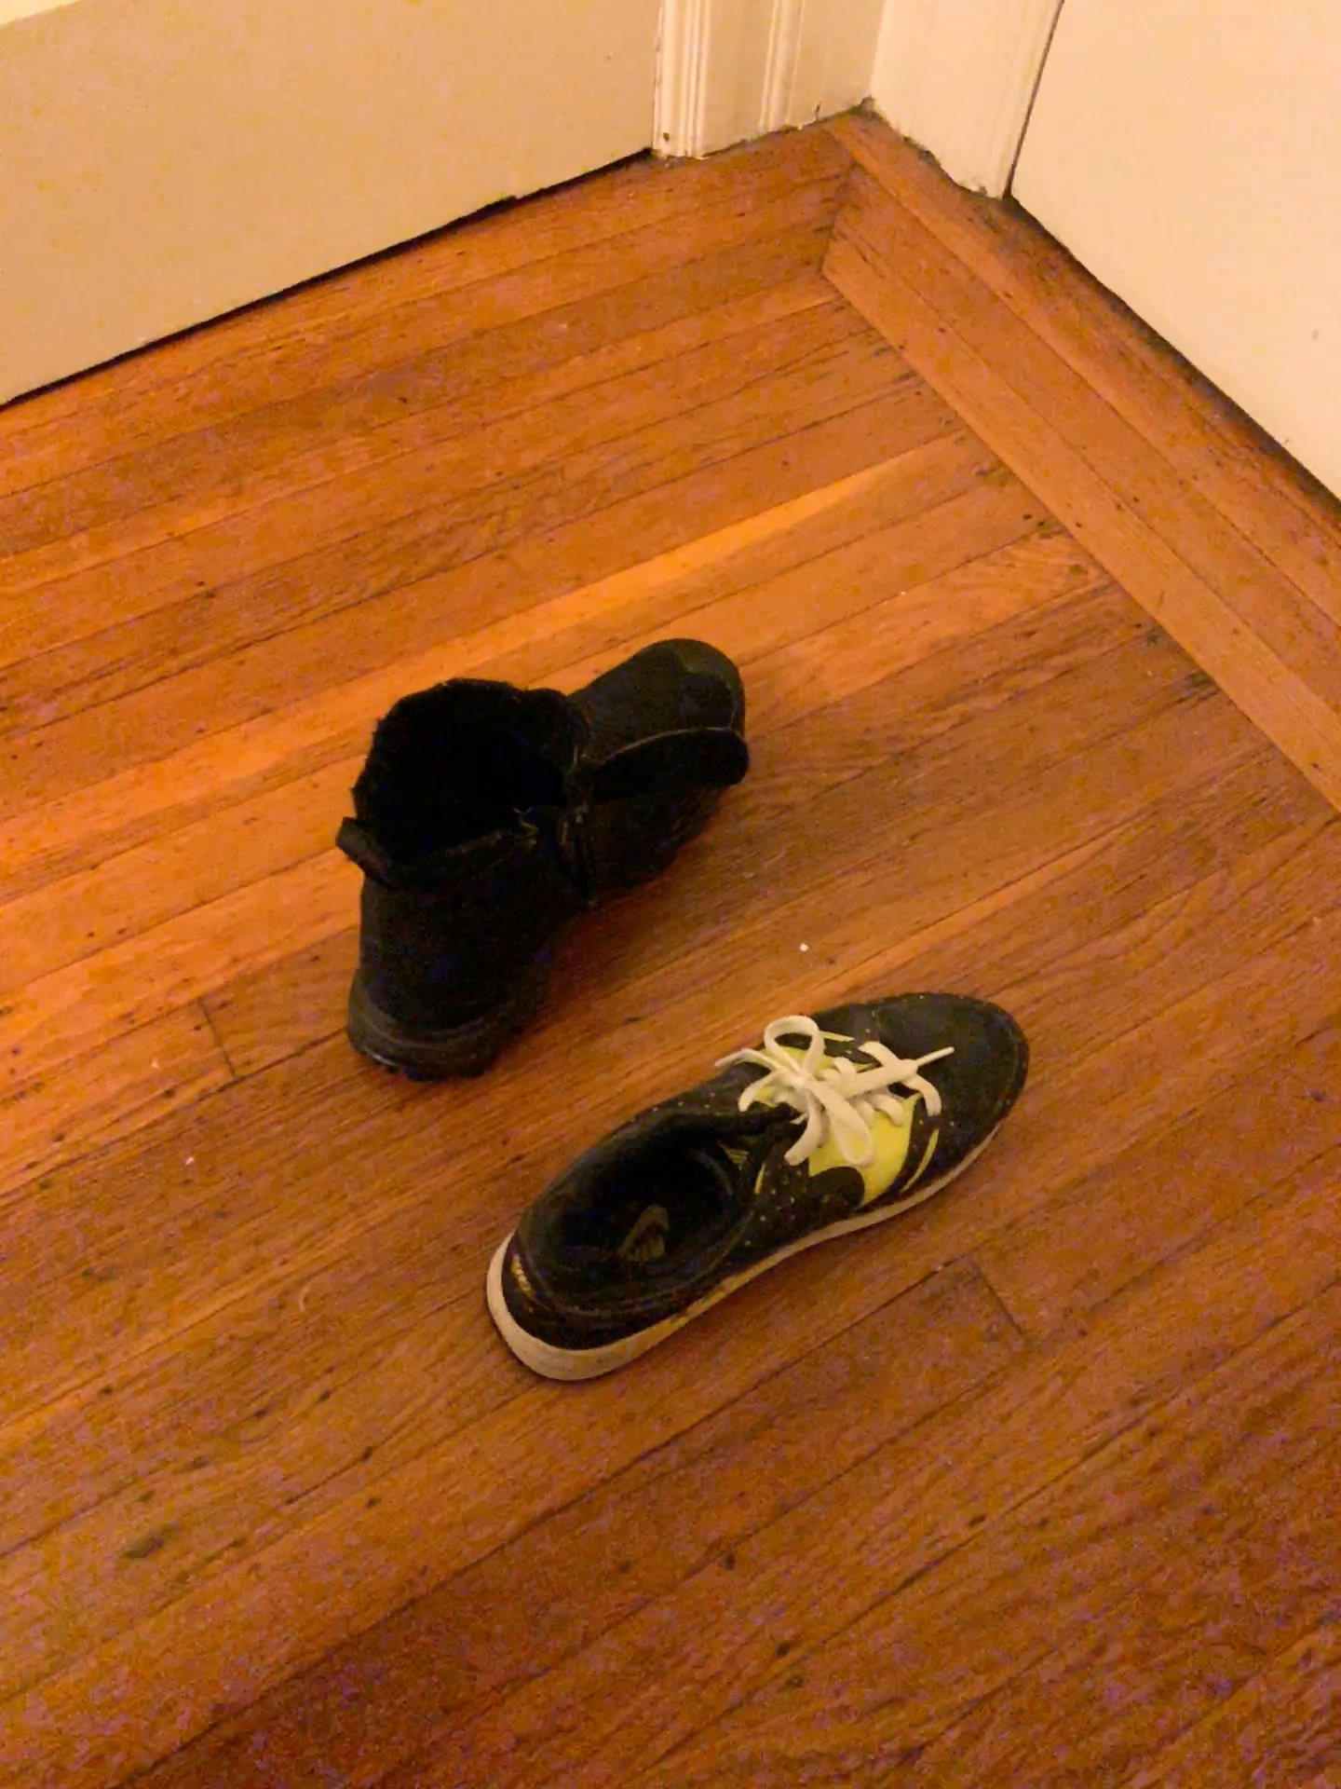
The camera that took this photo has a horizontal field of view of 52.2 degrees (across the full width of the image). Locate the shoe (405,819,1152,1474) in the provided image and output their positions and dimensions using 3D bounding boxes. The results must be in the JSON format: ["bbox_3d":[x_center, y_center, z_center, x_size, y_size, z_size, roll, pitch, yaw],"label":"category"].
[{"bbox_3d":[0.047,0.104,0.597,0.290,0.100,0.120,-31,67,-18],"label":"shoe"}]

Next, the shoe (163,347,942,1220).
[{"bbox_3d":[-0.041,-0.047,0.659,0.160,0.239,0.310,32,64,14],"label":"shoe"}]
